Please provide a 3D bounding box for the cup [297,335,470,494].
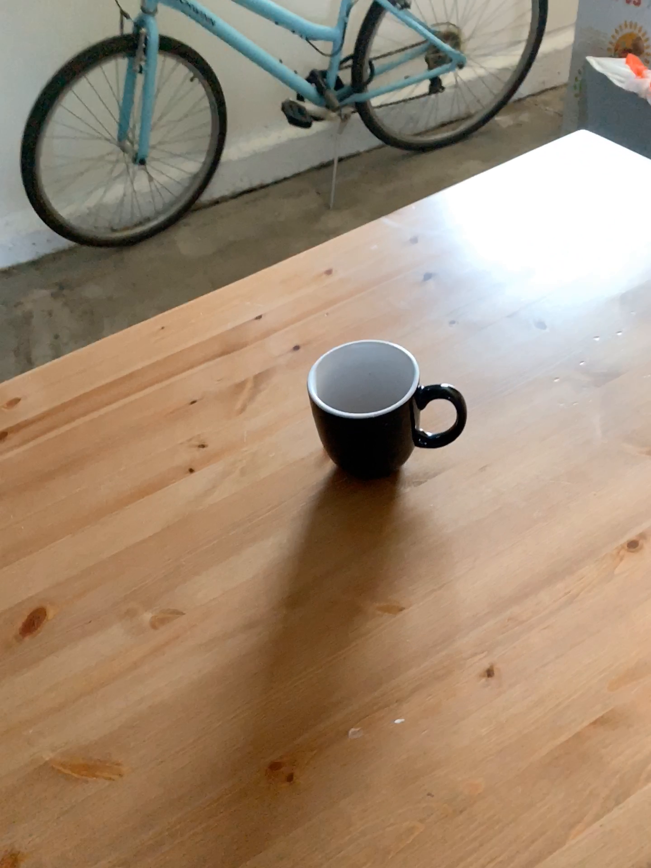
[{"bbox_3d":[0.057,-0.016,0.611,0.140,0.100,0.100,-2,50,10],"label":"cup"}]
